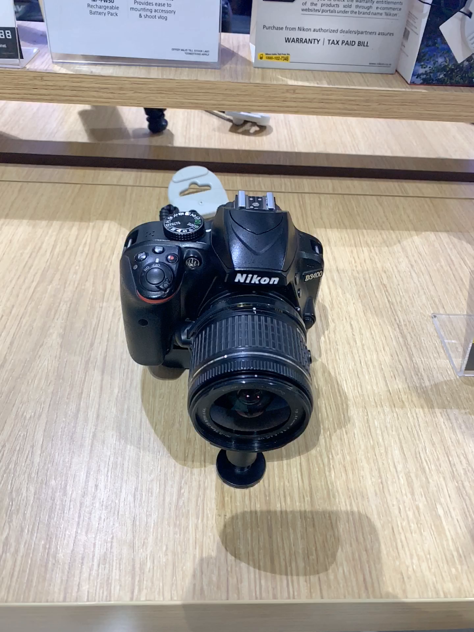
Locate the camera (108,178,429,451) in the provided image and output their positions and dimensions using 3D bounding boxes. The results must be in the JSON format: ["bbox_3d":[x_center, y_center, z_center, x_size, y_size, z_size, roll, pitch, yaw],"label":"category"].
[{"bbox_3d":[0.007,-0.002,0.226,0.110,0.073,0.100,2,44,-6],"label":"camera"}]
